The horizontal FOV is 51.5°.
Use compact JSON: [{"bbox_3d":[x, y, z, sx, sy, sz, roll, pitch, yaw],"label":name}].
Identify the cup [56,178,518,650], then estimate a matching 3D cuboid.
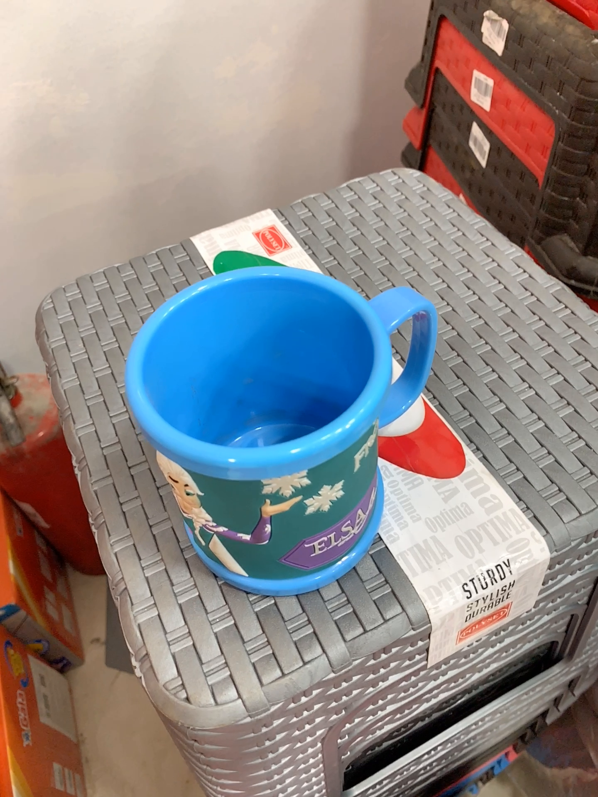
[{"bbox_3d":[0.001,0.005,0.220,0.110,0.099,0.080,-37,57,-21],"label":"cup"}]
